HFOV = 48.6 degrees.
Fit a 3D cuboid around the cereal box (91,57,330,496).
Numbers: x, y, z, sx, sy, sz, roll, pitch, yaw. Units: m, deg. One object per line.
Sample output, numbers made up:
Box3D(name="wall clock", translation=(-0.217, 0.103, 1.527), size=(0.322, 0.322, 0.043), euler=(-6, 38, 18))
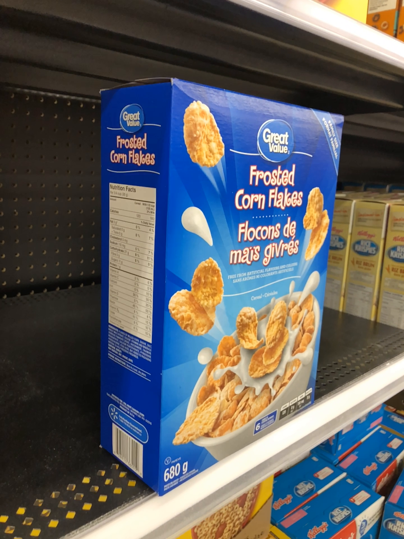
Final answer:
Box3D(name="cereal box", translation=(0.013, -0.001, 0.409), size=(0.080, 0.309, 0.211), euler=(14, 16, 42))
